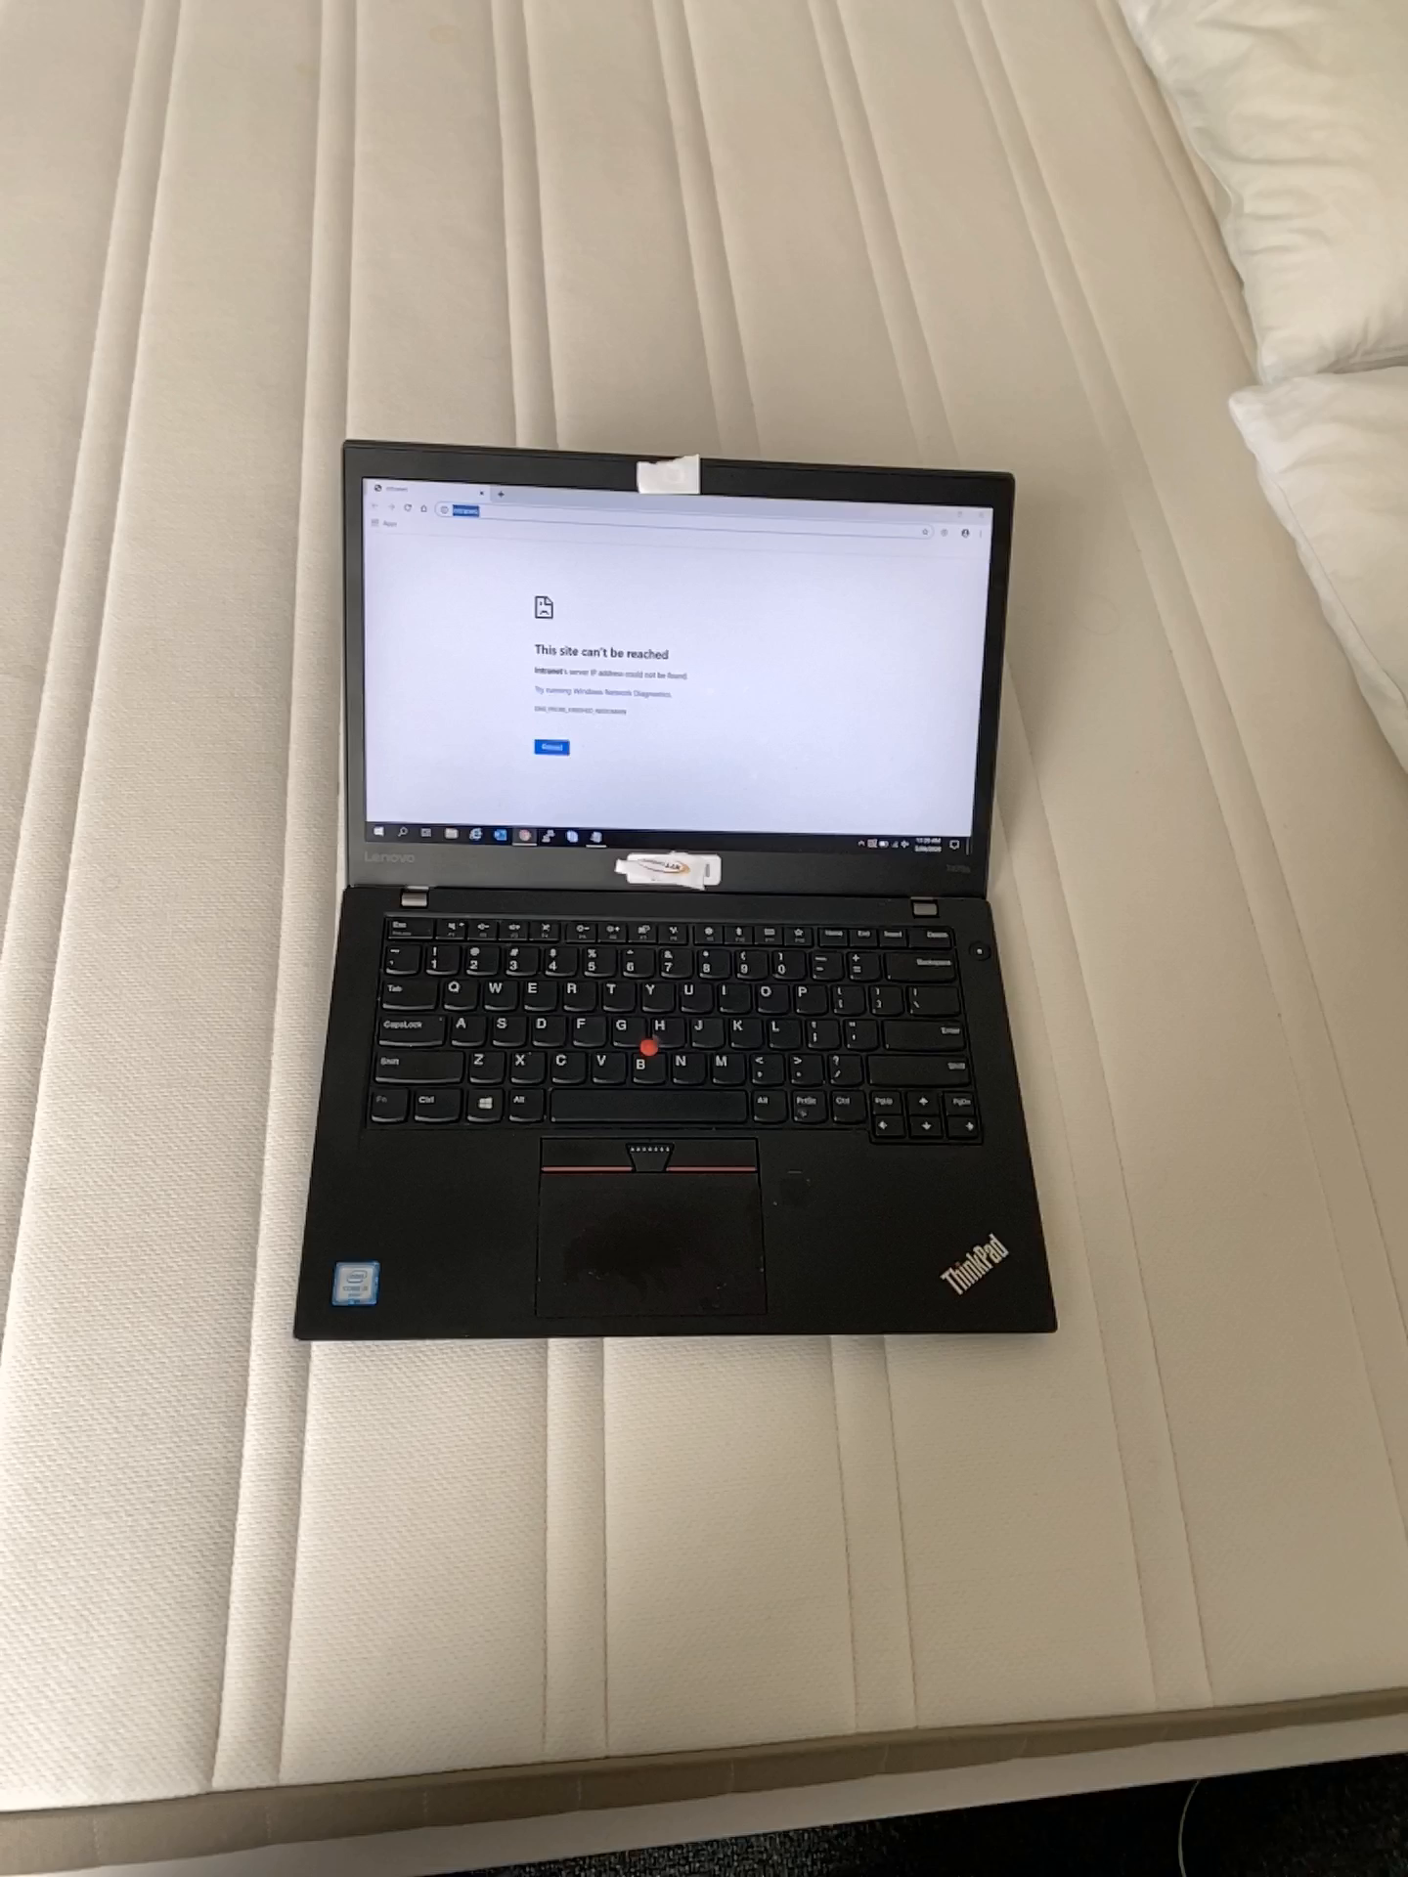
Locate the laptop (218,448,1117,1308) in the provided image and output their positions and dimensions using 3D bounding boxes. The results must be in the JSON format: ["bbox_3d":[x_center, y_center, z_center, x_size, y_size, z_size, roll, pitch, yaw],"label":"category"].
[{"bbox_3d":[-0.021,-0.036,0.659,0.320,0.120,0.382,2,59,-8],"label":"laptop"}]
